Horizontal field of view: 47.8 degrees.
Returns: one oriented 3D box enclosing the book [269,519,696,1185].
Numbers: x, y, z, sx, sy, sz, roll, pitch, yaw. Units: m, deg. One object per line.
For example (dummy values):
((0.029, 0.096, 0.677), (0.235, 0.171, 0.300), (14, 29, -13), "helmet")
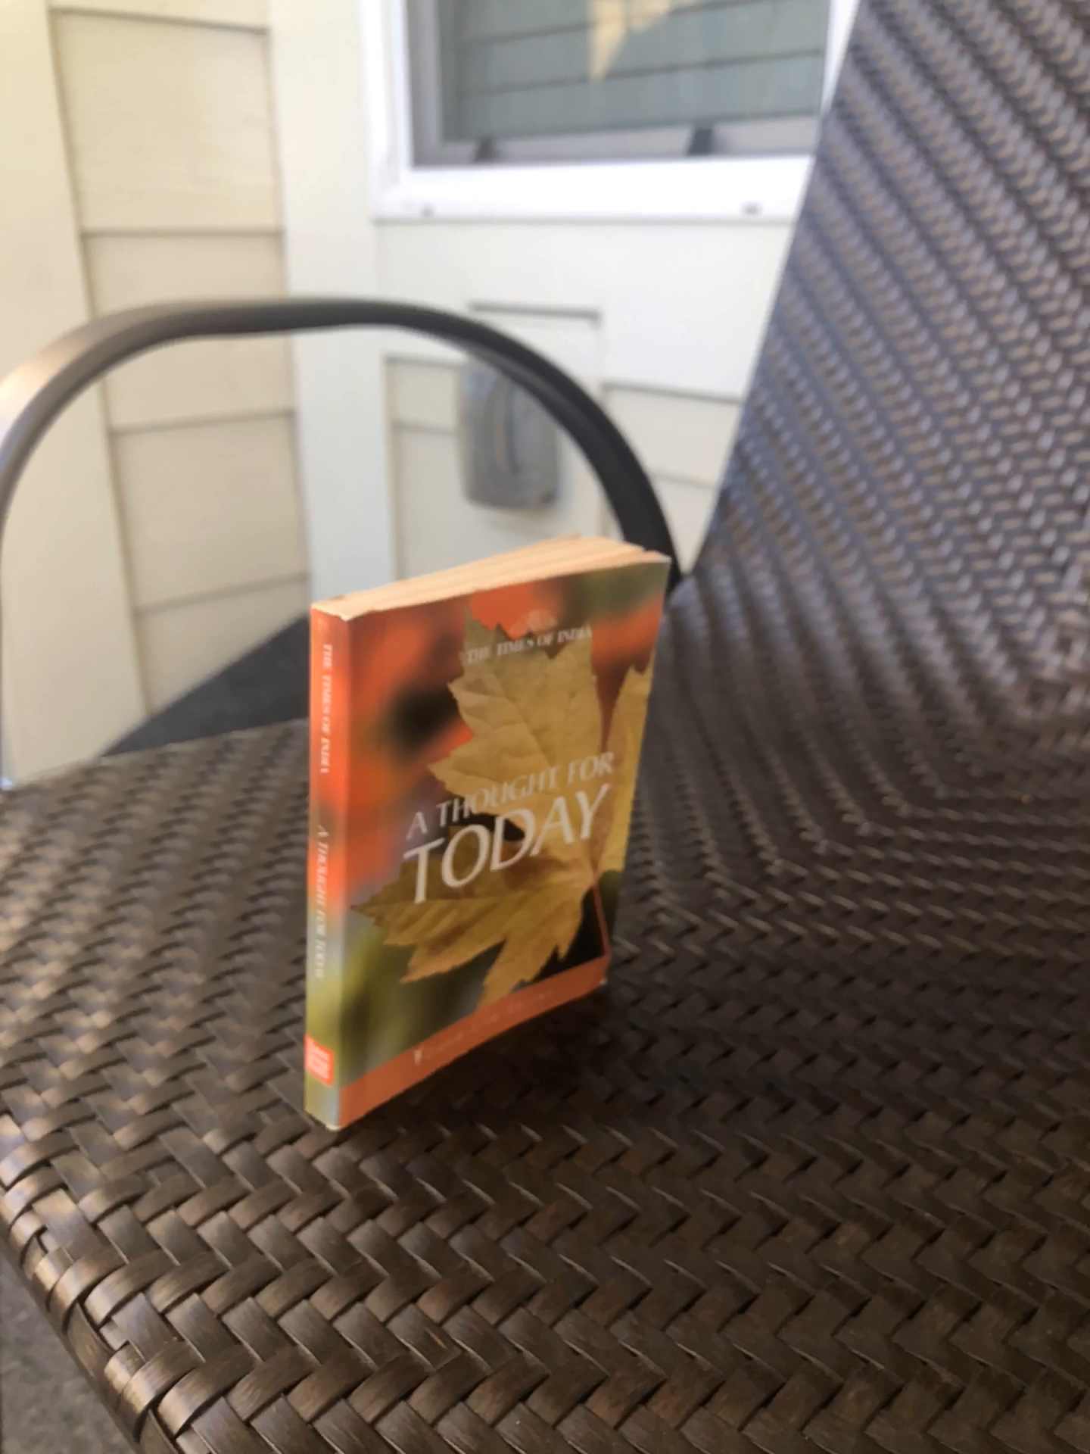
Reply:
((-0.011, 0.025, 0.298), (0.031, 0.128, 0.106), (21, 30, 35), "book")
